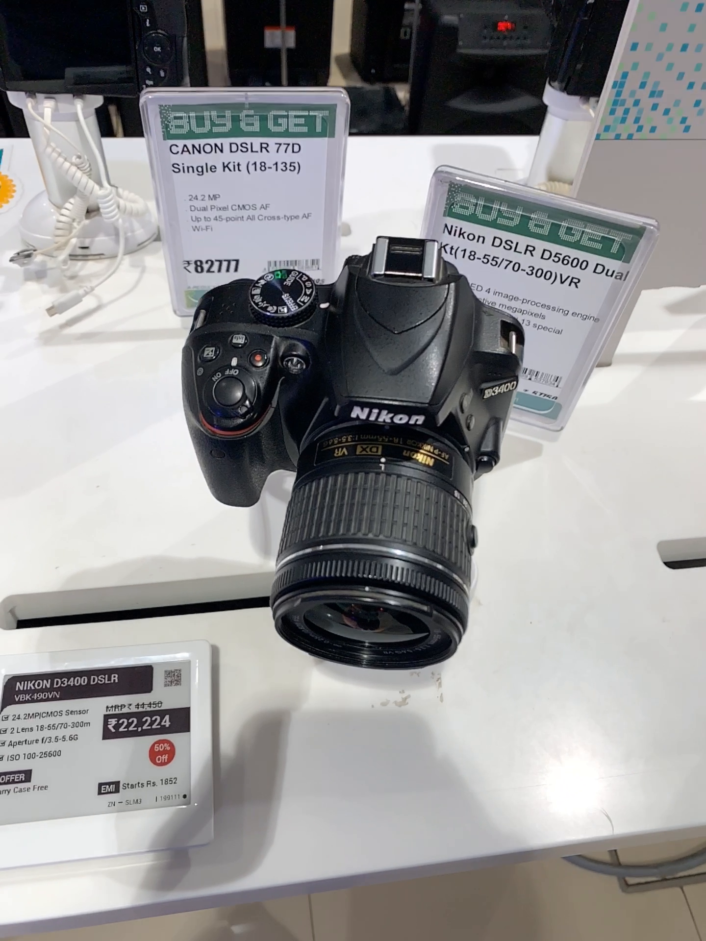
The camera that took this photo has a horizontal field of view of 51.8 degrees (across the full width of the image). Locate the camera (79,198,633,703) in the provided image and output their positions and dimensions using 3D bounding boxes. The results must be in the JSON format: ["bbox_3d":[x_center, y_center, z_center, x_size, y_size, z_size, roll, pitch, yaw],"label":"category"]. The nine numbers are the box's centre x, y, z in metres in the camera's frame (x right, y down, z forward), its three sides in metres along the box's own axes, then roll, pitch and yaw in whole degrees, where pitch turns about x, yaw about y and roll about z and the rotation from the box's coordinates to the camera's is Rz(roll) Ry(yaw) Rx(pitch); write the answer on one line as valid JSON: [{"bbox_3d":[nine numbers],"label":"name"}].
[{"bbox_3d":[0.003,-0.008,0.224,0.120,0.080,0.120,6,53,0],"label":"camera"}]
